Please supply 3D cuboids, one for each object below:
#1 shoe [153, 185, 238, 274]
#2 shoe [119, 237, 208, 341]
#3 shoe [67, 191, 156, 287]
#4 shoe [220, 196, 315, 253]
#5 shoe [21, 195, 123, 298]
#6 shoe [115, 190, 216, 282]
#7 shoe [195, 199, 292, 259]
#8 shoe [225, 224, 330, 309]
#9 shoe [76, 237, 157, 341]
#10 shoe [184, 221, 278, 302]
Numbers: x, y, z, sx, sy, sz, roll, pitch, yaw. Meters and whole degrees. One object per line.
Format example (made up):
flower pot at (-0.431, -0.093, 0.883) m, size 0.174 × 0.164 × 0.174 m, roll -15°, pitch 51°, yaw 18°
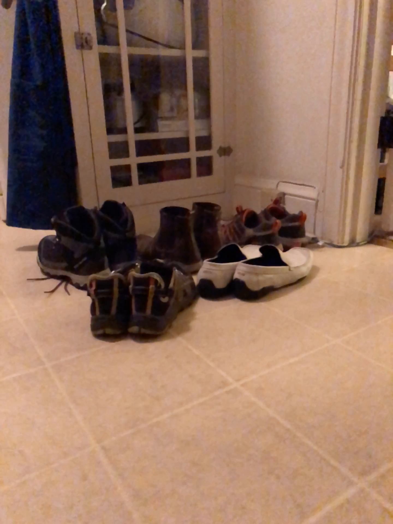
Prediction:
shoe at (-0.010, -0.113, 1.308) m, size 0.110 × 0.192 × 0.324 m, roll -11°, pitch 21°, yaw -27°
shoe at (-0.058, 0.044, 0.956) m, size 0.110 × 0.123 × 0.294 m, roll 2°, pitch 19°, yaw 13°
shoe at (-0.248, -0.079, 1.230) m, size 0.110 × 0.192 × 0.324 m, roll -14°, pitch 22°, yaw -32°
shoe at (0.218, -0.130, 1.398) m, size 0.110 × 0.113 × 0.314 m, roll -15°, pitch 23°, yaw -34°
shoe at (-0.336, -0.055, 1.145) m, size 0.110 × 0.192 × 0.324 m, roll -17°, pitch 24°, yaw -38°
shoe at (-0.096, -0.088, 1.250) m, size 0.110 × 0.192 × 0.324 m, roll -16°, pitch 23°, yaw -37°
shoe at (0.133, -0.111, 1.331) m, size 0.110 × 0.113 × 0.314 m, roll -15°, pitch 23°, yaw -34°
shoe at (0.209, -0.001, 1.073) m, size 0.110 × 0.113 × 0.304 m, roll 14°, pitch 24°, yaw 39°
shoe at (-0.161, 0.046, 0.950) m, size 0.110 × 0.123 × 0.294 m, roll -1°, pitch 19°, yaw 2°
shoe at (0.100, -0.014, 1.114) m, size 0.110 × 0.113 × 0.304 m, roll 9°, pitch 22°, yaw 30°
